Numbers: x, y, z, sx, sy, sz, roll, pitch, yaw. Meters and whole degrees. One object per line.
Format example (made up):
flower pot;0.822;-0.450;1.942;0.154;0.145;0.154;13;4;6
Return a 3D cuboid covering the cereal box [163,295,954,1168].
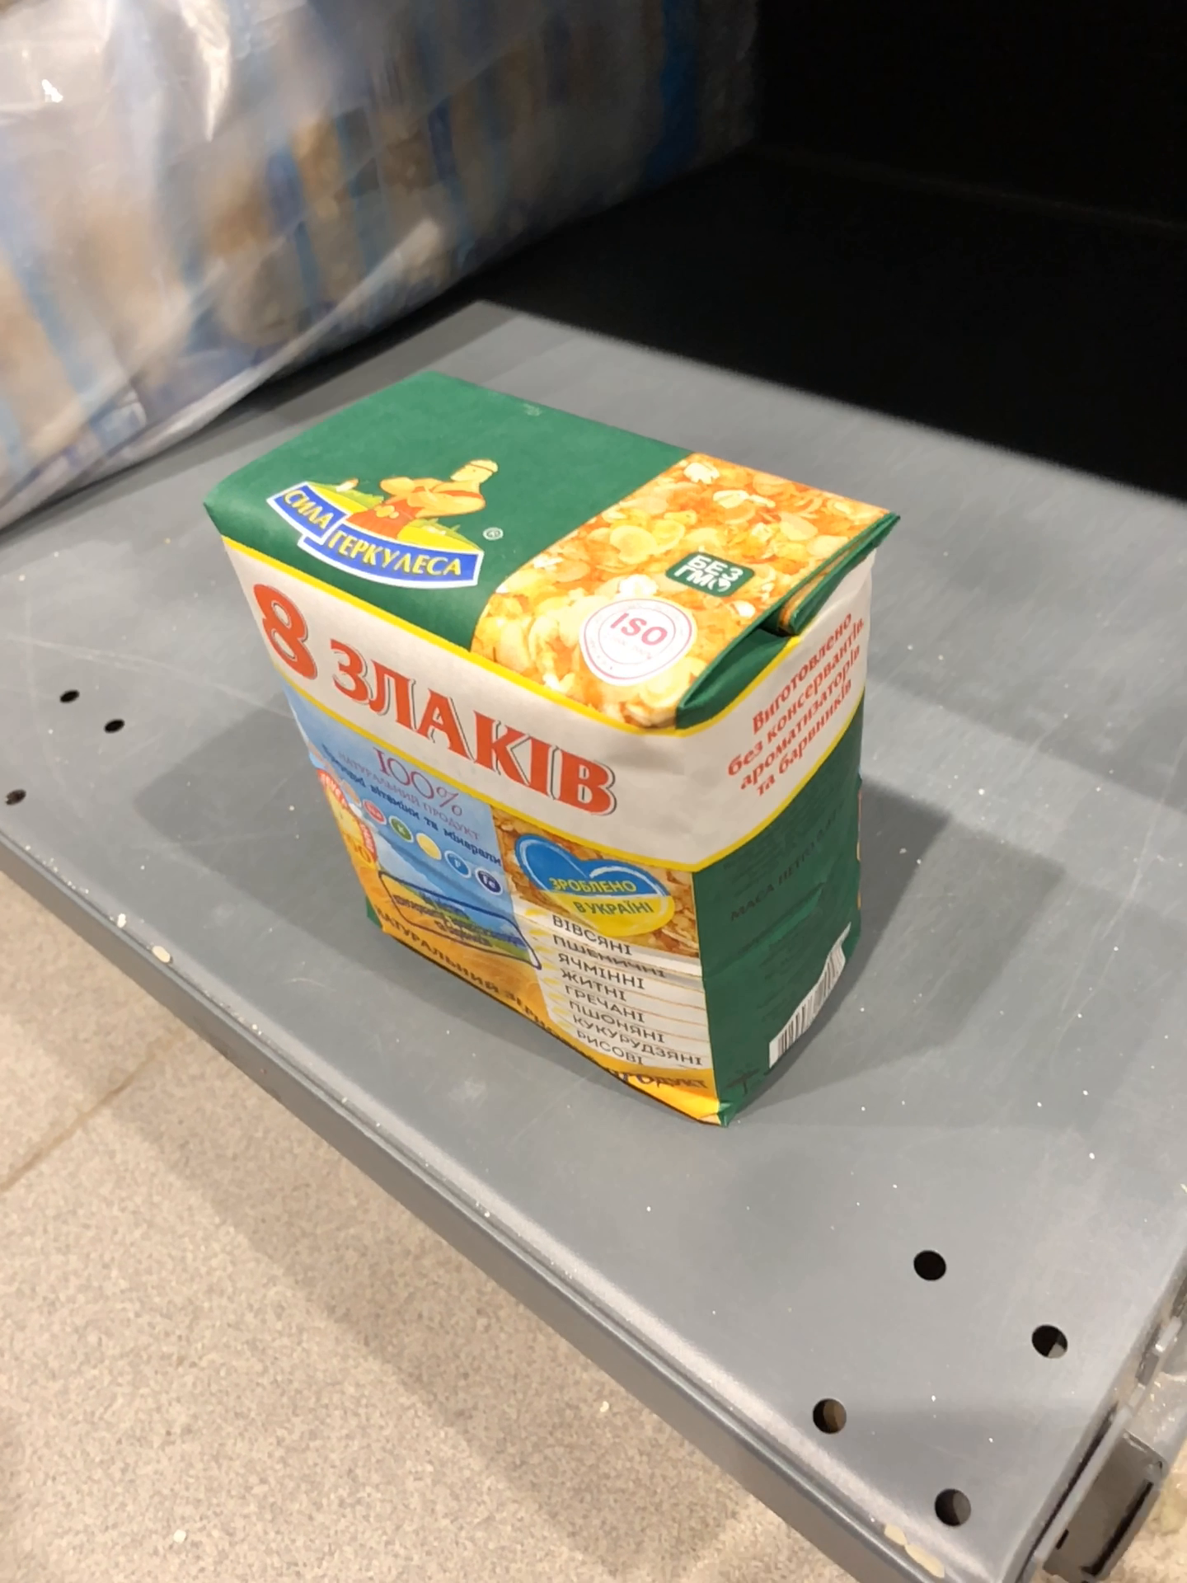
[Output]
cereal box;-0.003;-0.013;0.273;0.120;0.129;0.070;27;54;30
